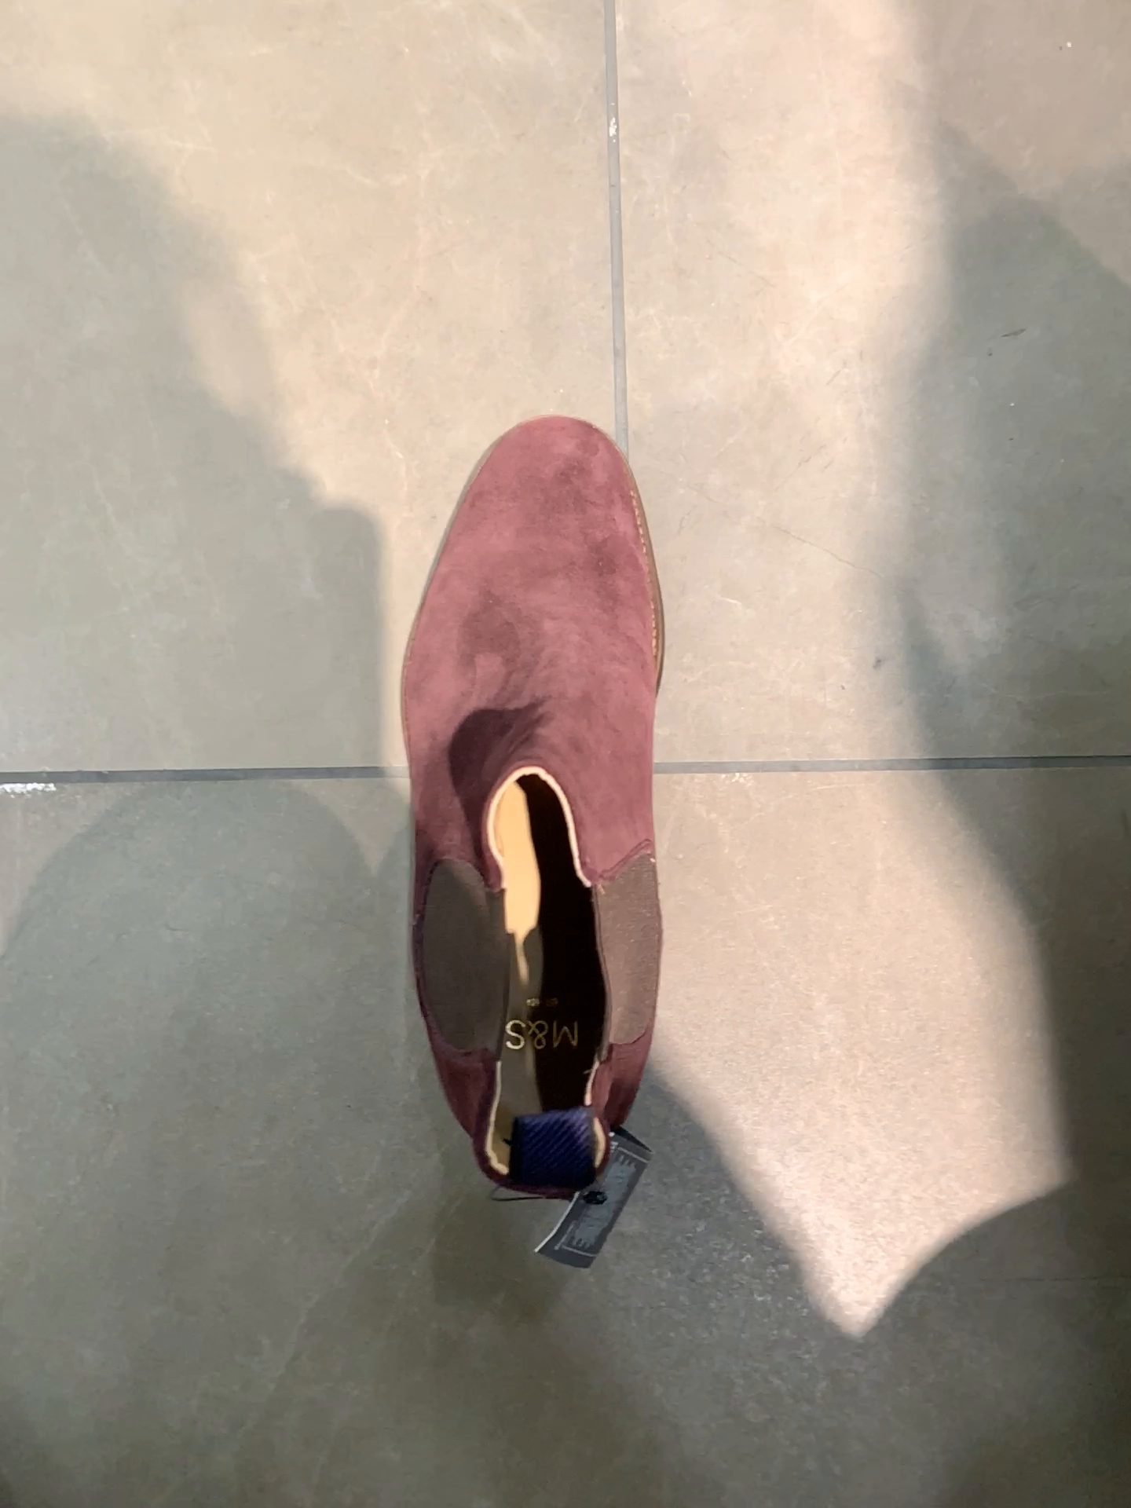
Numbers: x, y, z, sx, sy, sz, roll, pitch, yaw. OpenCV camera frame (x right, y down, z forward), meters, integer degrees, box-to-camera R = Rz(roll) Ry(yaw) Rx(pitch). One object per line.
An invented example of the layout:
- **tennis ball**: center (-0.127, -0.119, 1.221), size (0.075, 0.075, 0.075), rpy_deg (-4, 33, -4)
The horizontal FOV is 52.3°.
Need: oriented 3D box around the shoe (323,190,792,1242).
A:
- **shoe**: center (-0.009, -0.008, 0.396), size (0.114, 0.162, 0.298), rpy_deg (-3, 75, 0)
